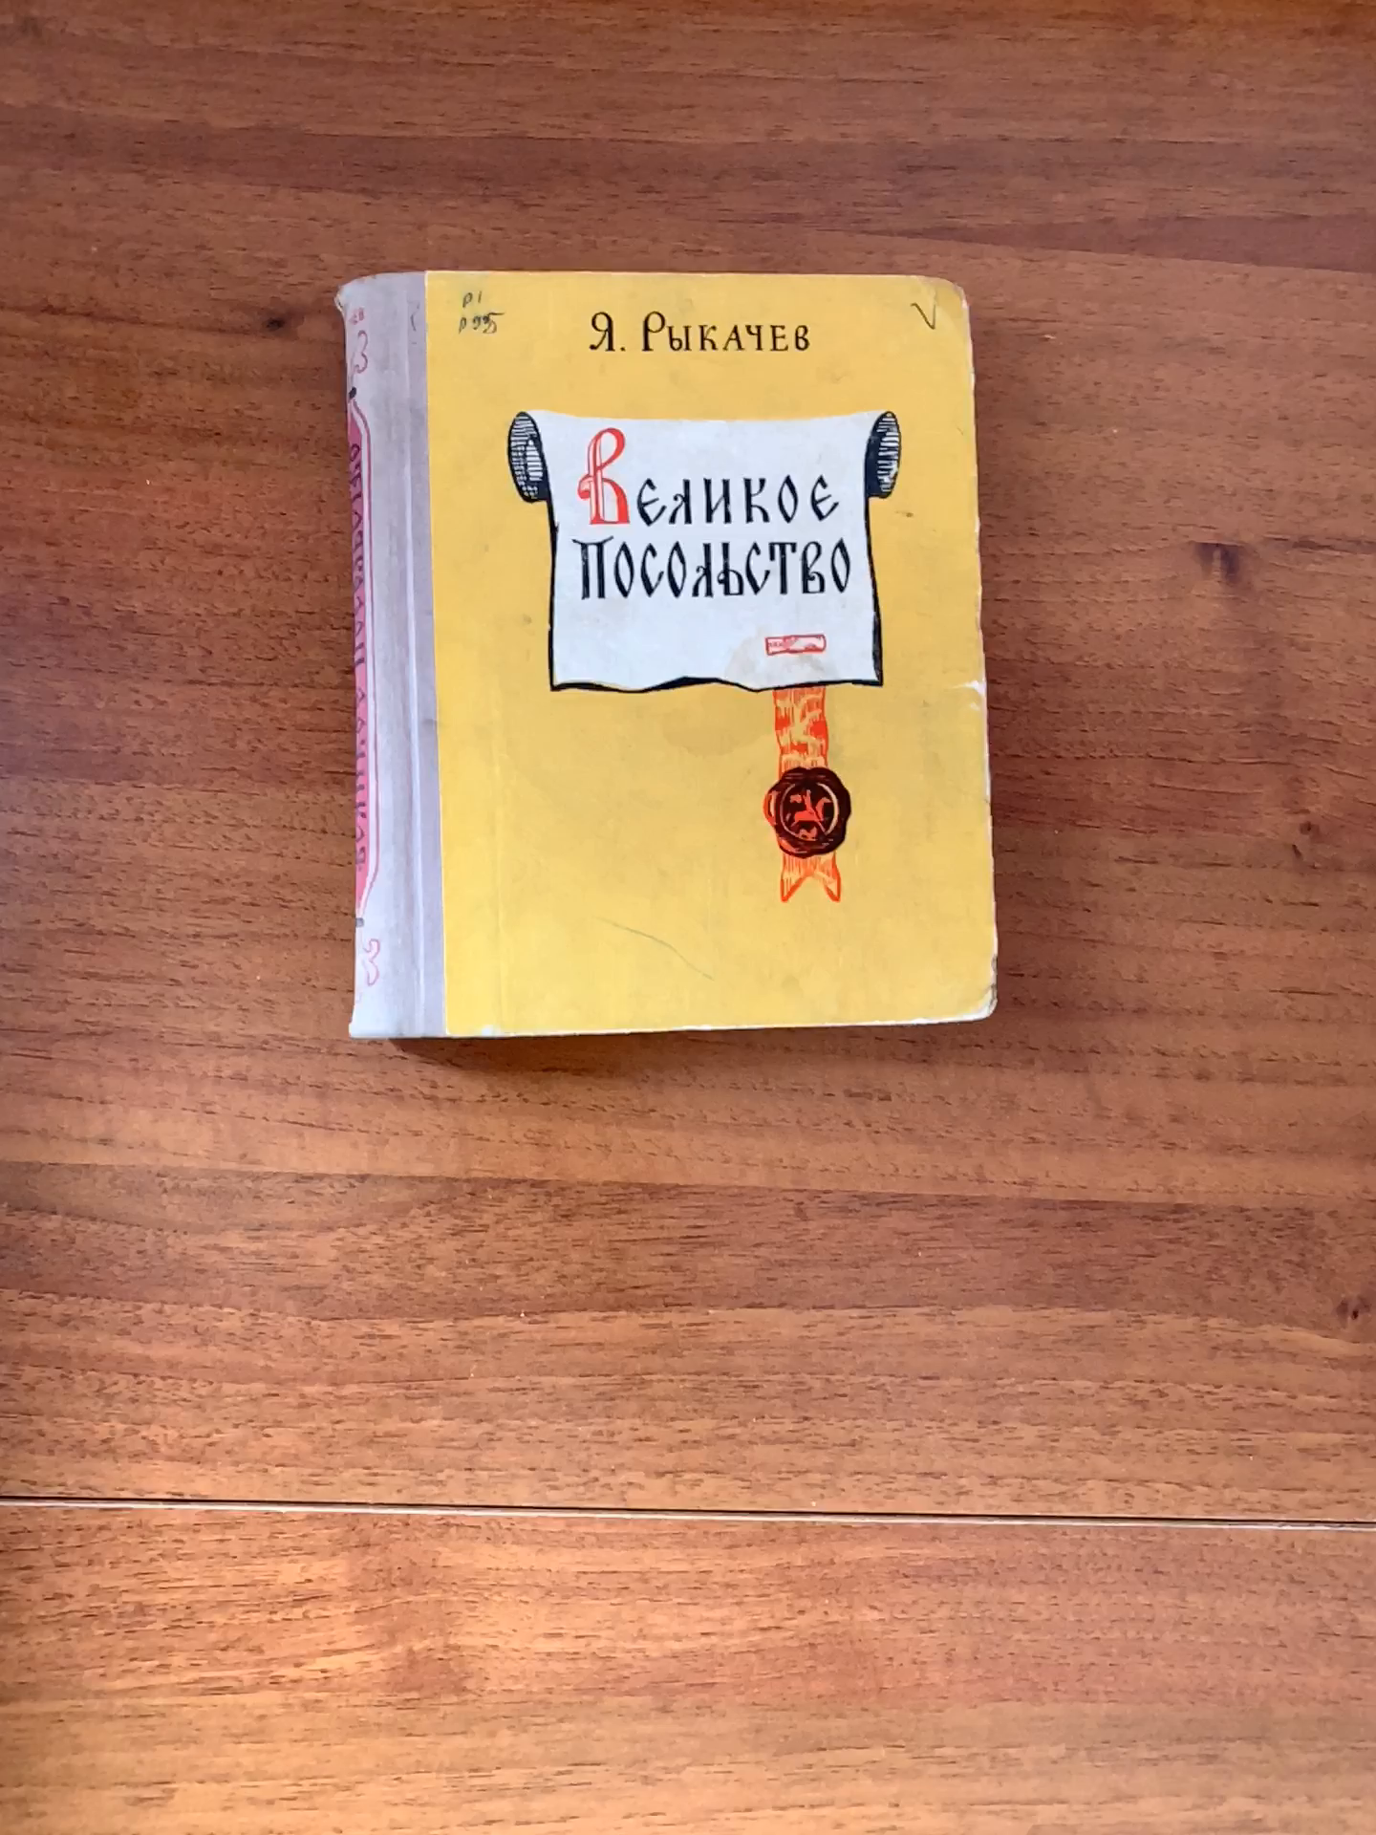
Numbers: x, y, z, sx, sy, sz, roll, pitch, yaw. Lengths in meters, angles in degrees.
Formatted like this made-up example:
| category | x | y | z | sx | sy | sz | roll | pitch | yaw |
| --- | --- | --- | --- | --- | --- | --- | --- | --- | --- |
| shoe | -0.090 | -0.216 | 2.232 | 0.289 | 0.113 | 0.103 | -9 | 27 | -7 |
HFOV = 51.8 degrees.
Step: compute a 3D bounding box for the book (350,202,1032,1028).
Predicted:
| category | x | y | z | sx | sy | sz | roll | pitch | yaw |
| --- | --- | --- | --- | --- | --- | --- | --- | --- | --- |
| book | 0.001 | -0.063 | 0.309 | 0.142 | 0.023 | 0.170 | -1 | 89 | -5 |
